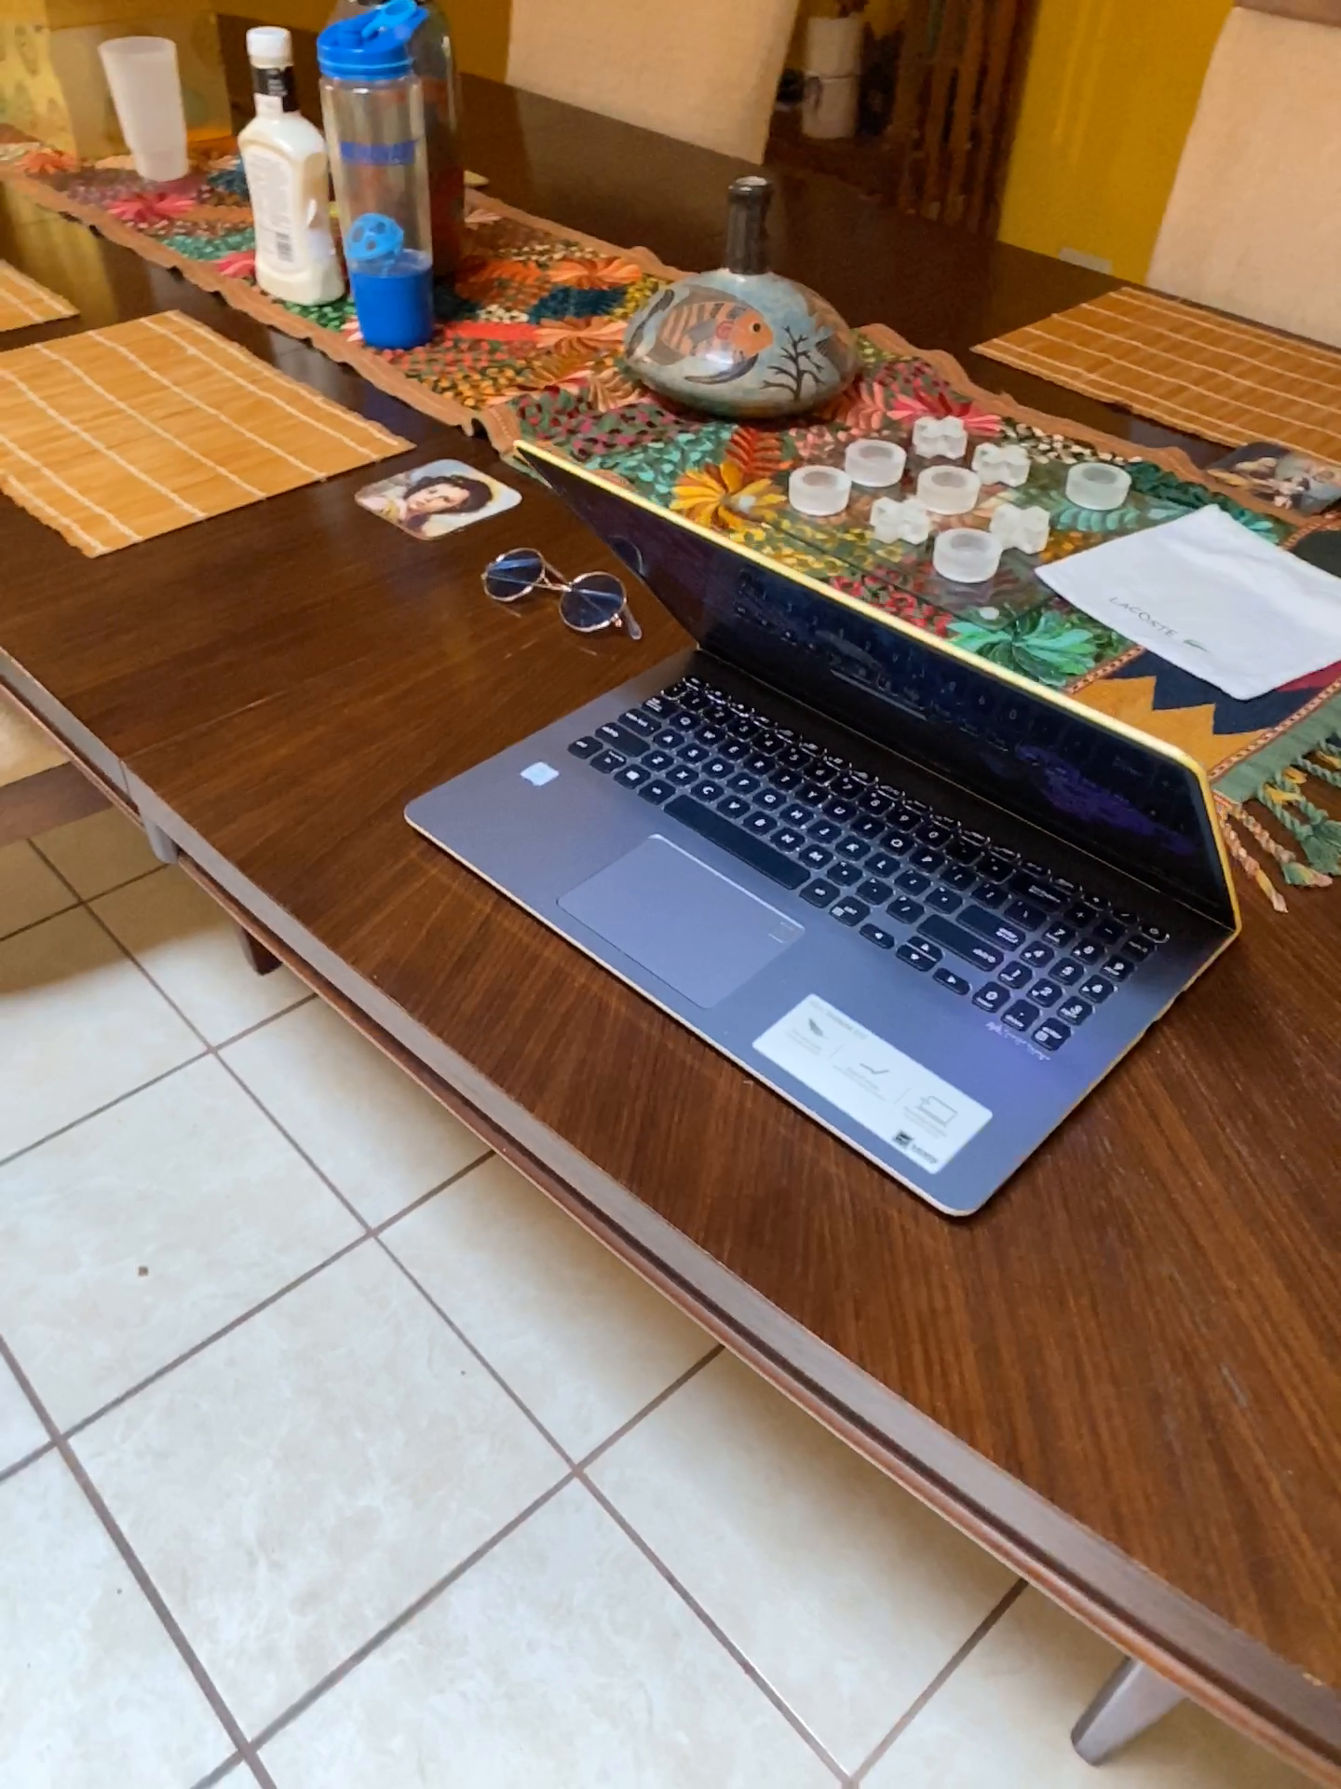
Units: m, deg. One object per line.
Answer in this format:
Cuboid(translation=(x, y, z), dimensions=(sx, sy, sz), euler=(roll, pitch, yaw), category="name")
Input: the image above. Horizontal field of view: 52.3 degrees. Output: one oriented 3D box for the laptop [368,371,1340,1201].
Cuboid(translation=(0.077, -0.085, 0.685), dimensions=(0.377, 0.181, 0.251), euler=(33, 50, 29), category="laptop")
